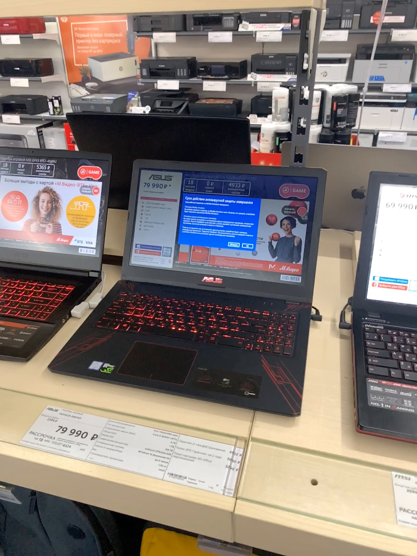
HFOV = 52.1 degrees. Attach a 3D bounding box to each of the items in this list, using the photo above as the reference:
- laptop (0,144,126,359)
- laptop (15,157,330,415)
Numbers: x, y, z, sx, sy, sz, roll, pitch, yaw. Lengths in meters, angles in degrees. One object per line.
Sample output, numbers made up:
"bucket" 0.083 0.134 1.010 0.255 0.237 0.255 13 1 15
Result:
"laptop" -0.395 -0.079 0.769 0.338 0.209 0.354 7 33 13
"laptop" -0.012 -0.034 0.687 0.365 0.199 0.384 6 33 14
